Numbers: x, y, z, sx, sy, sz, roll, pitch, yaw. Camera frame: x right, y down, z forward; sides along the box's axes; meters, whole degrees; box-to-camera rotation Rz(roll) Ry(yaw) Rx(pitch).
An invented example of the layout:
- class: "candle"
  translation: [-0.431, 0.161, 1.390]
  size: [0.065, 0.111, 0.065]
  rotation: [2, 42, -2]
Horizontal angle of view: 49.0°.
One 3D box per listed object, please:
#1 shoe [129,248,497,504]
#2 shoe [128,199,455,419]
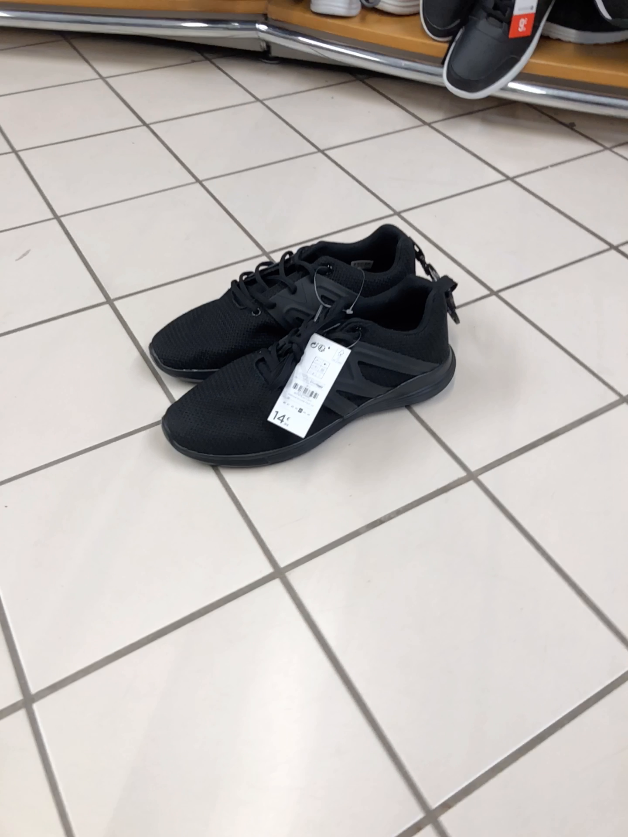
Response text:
- class: "shoe"
  translation: [0.004, -0.048, 0.640]
  size: [0.311, 0.109, 0.100]
  rotation: [-21, 51, -20]
- class: "shoe"
  translation: [-0.018, -0.121, 0.718]
  size: [0.311, 0.109, 0.100]
  rotation: [-21, 51, -20]
